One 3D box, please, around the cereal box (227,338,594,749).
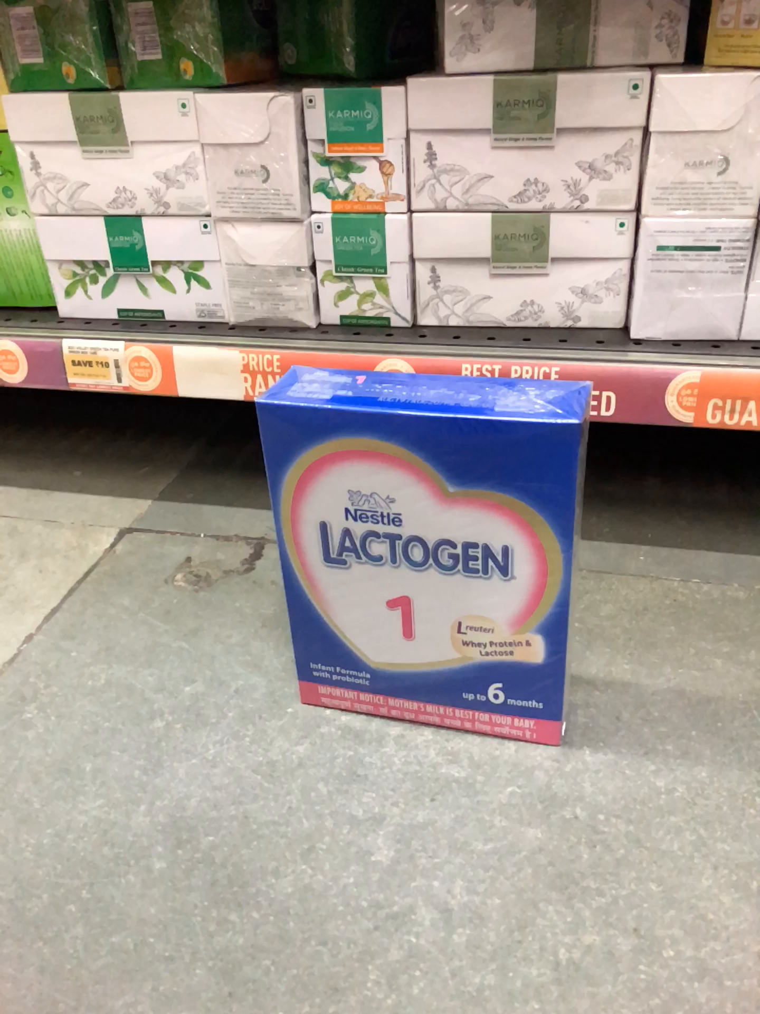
[{"bbox_3d":[0.019,0.021,0.432,0.160,0.199,0.050,6,32,16],"label":"cereal box"}]
